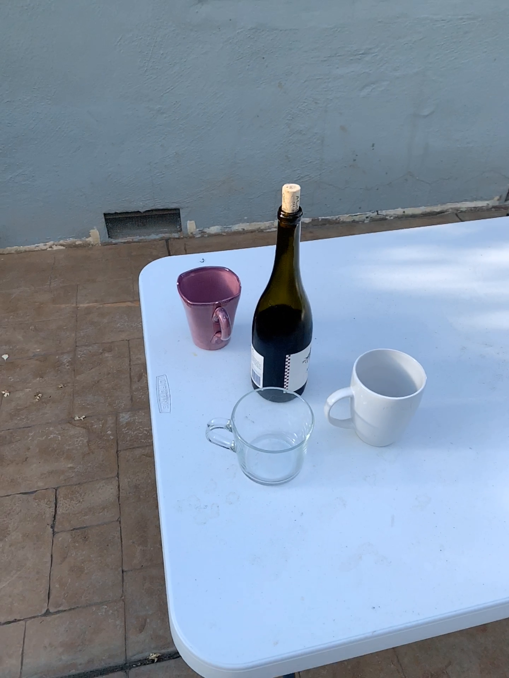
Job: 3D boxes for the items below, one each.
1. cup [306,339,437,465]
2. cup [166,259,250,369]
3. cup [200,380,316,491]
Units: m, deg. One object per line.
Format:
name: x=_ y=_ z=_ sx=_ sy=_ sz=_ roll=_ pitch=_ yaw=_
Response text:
cup: x=0.149 y=0.083 z=0.695 sx=0.130 sy=0.119 sz=0.091 roll=-8 pitch=41 yaw=-10
cup: x=-0.074 y=-0.042 z=0.818 sx=0.100 sy=0.099 sz=0.131 roll=-10 pitch=41 yaw=-13
cup: x=0.000 y=0.117 z=0.647 sx=0.130 sy=0.080 sz=0.101 roll=-3 pitch=40 yaw=-3
